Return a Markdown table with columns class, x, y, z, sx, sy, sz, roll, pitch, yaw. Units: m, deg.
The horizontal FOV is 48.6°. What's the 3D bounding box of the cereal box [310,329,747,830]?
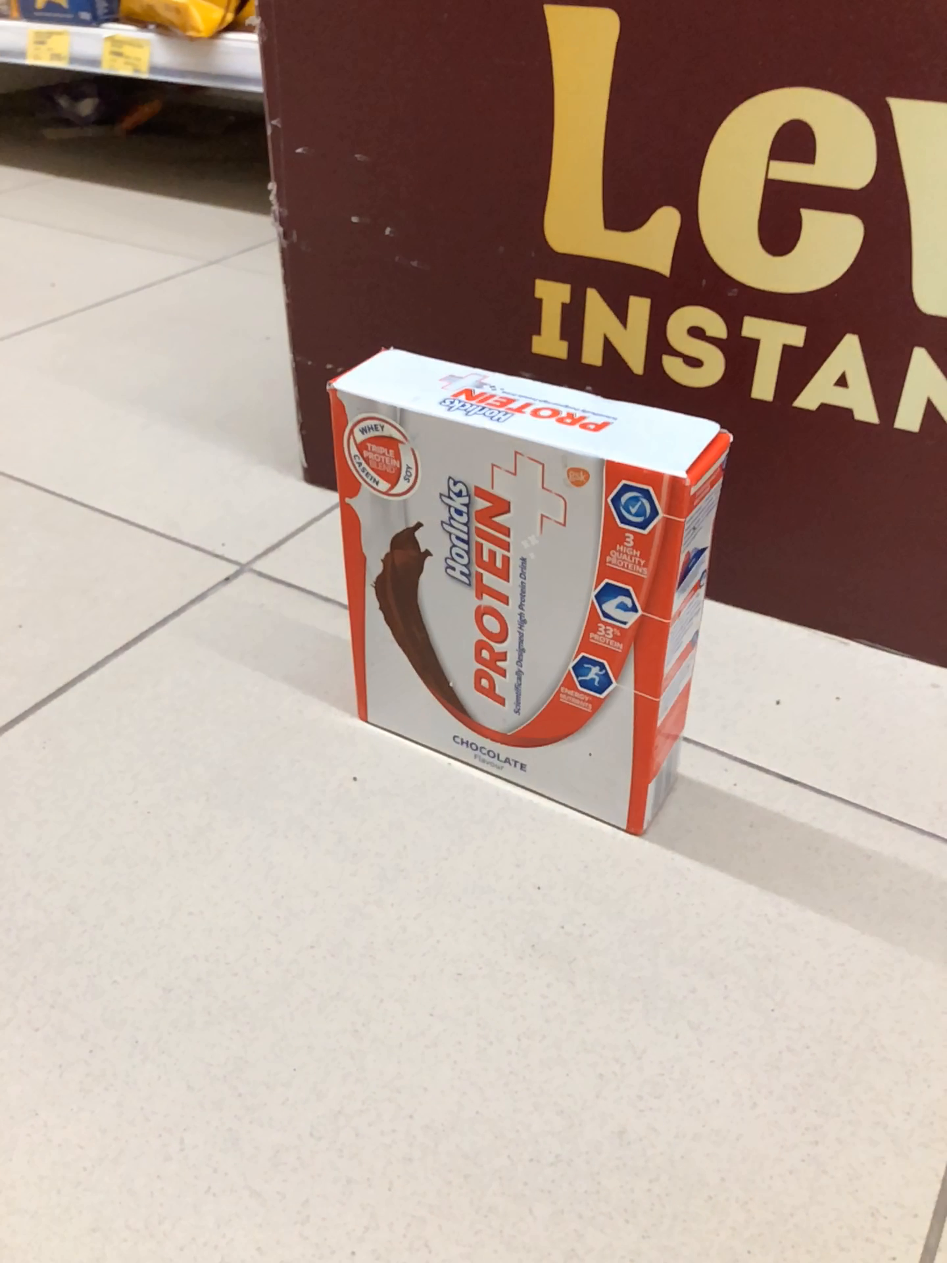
| class | x | y | z | sx | sy | sz | roll | pitch | yaw |
| --- | --- | --- | --- | --- | --- | --- | --- | --- | --- |
| cereal box | 0.016 | -0.021 | 0.395 | 0.140 | 0.149 | 0.050 | 20 | 40 | 25 |
